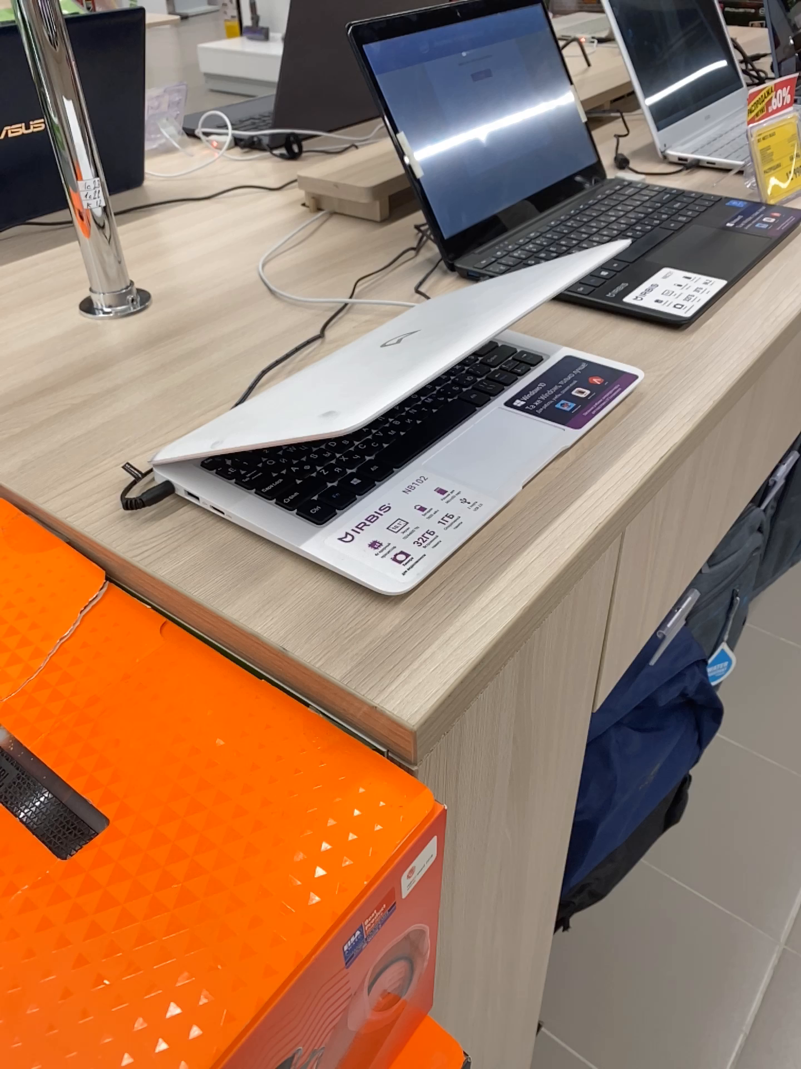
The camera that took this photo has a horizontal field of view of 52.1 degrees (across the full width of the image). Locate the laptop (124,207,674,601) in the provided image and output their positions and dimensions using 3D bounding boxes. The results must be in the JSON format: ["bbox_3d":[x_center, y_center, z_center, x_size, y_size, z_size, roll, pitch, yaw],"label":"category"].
[{"bbox_3d":[0.015,-0.103,0.489,0.178,0.078,0.280,25,45,29],"label":"laptop"}]
